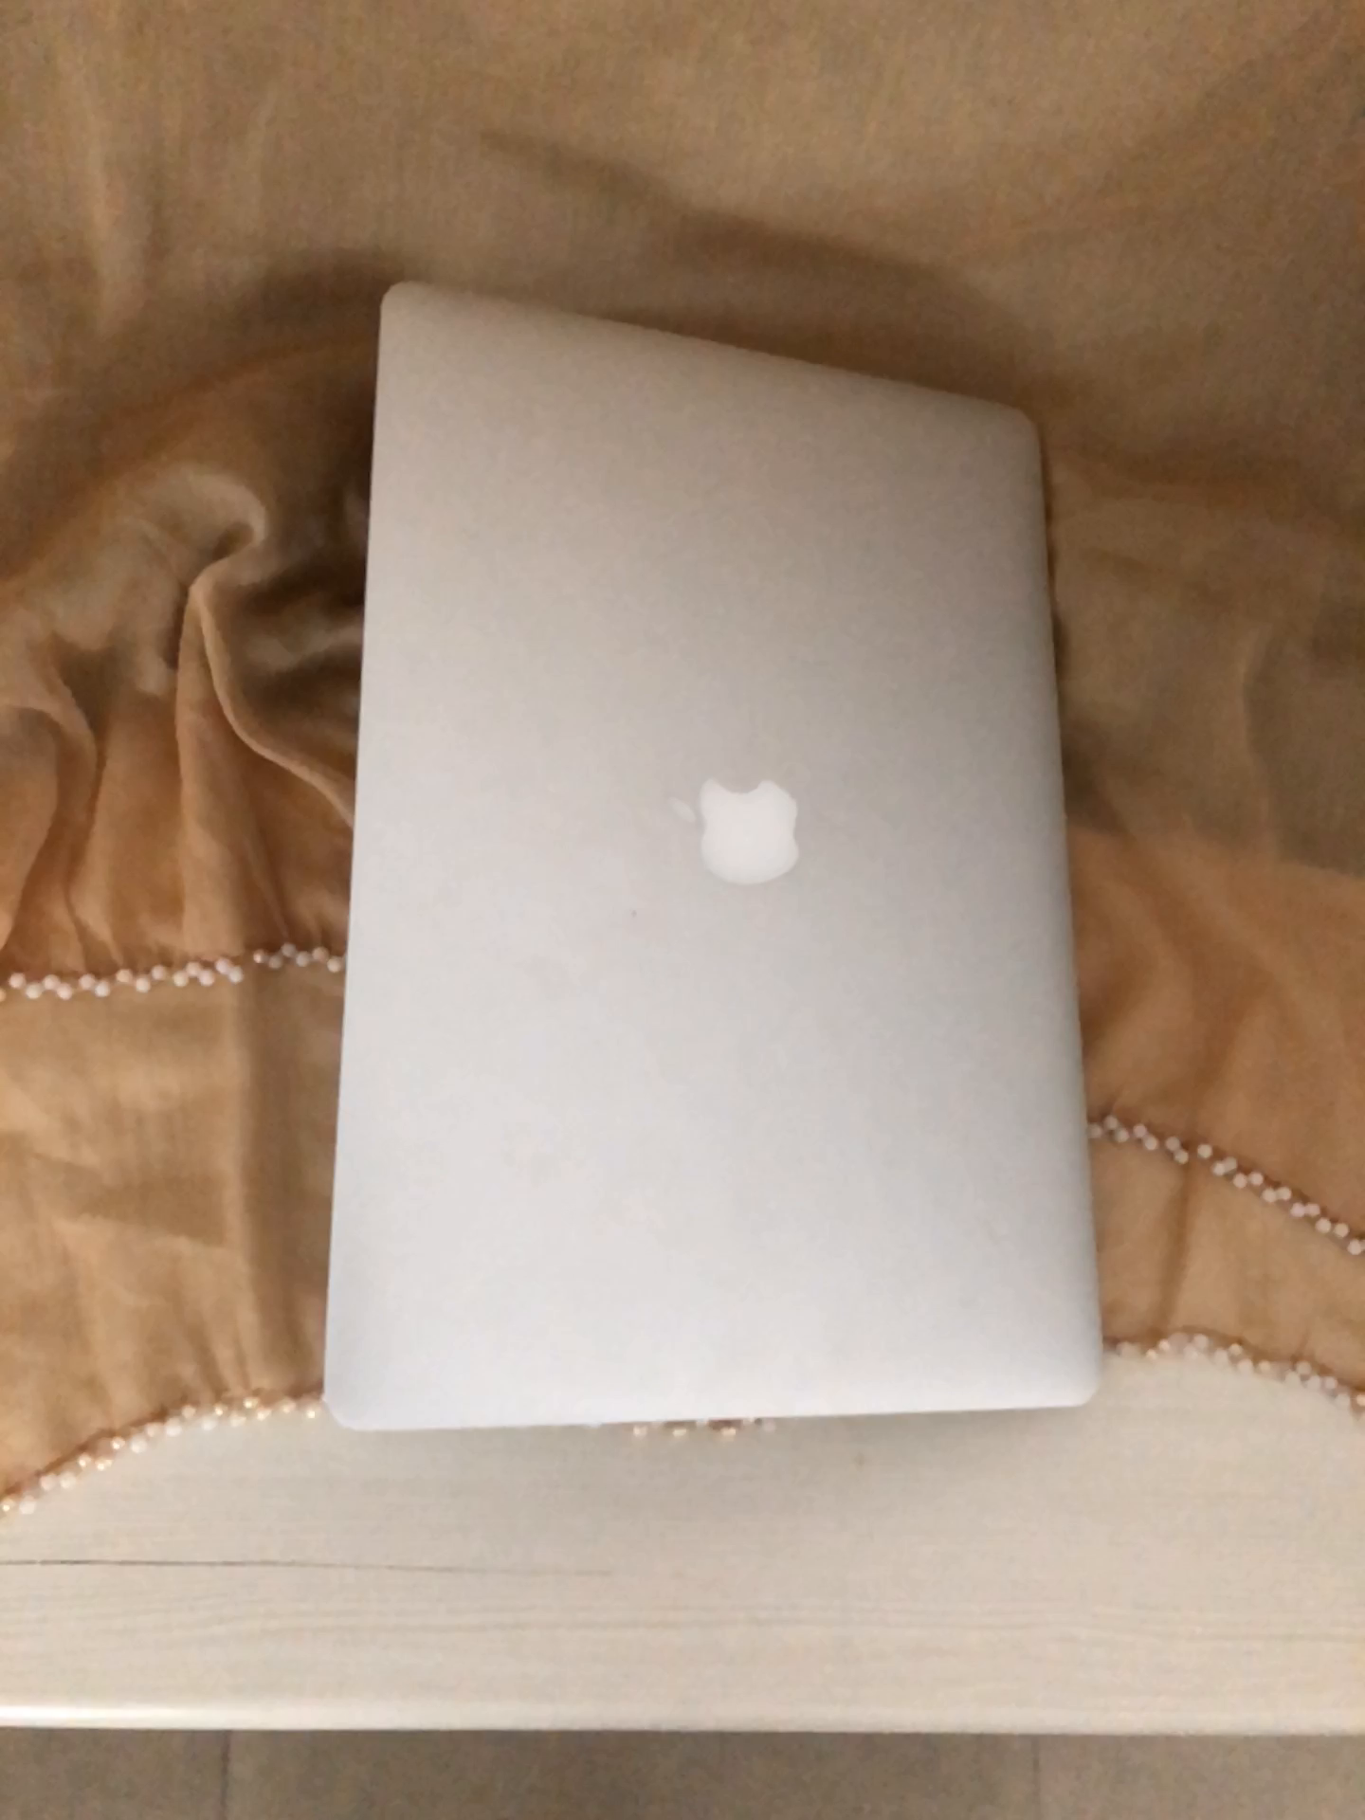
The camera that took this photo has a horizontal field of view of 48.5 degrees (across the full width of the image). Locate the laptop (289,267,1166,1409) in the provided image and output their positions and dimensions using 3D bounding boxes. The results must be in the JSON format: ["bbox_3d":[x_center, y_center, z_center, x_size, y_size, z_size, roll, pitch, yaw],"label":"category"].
[{"bbox_3d":[0.012,-0.027,0.487,0.239,0.063,0.352,1,75,-4],"label":"laptop"}]
